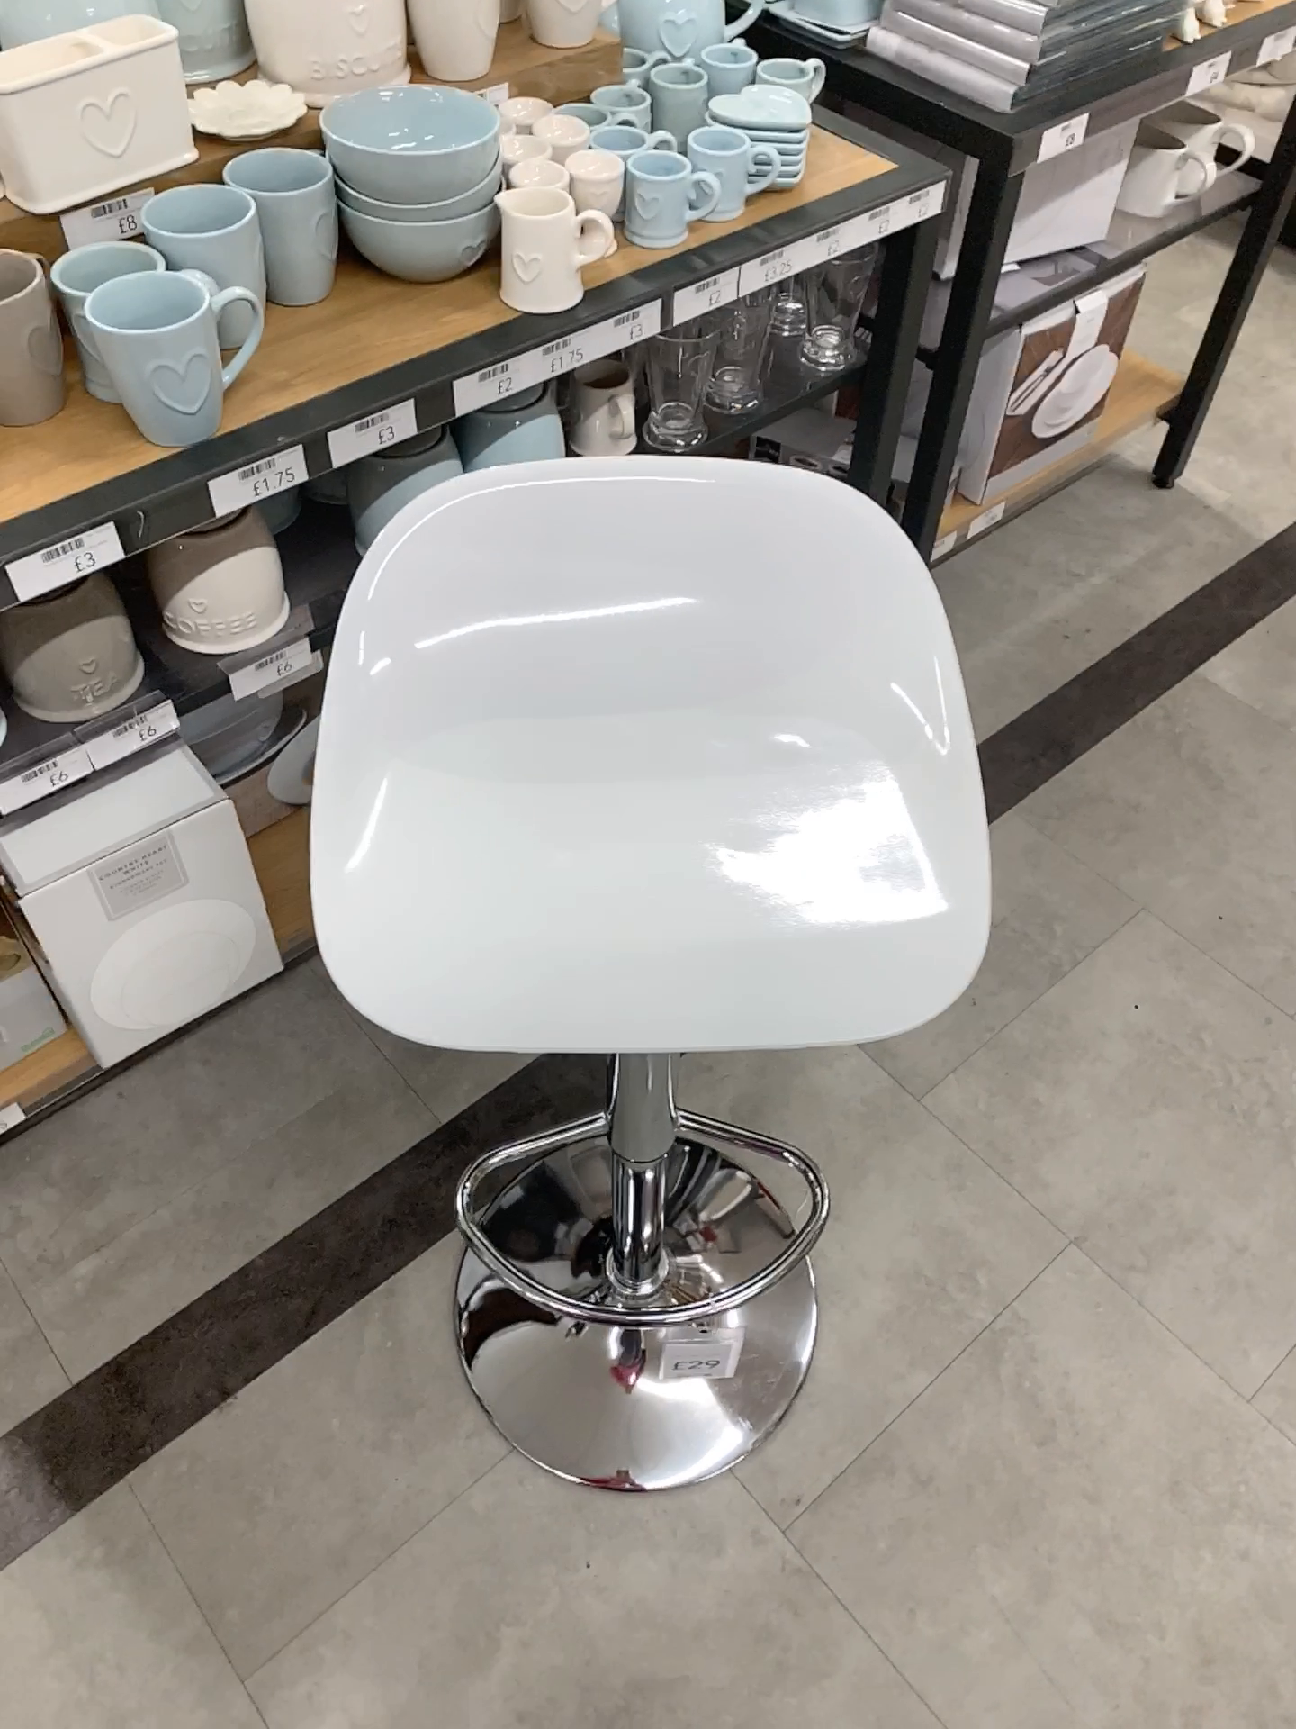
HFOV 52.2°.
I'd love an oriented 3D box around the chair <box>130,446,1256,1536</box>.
[{"bbox_3d":[0.004,0.172,0.988,0.454,0.826,0.424,0,52,-2],"label":"chair"}]
